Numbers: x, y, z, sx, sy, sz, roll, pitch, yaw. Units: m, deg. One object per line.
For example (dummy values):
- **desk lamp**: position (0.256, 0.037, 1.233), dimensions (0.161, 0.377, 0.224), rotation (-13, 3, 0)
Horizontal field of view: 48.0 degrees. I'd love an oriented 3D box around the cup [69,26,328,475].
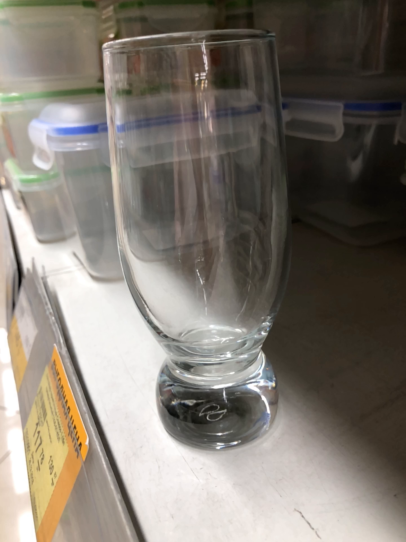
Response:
- **cup**: position (-0.001, -0.008, 0.176), dimensions (0.069, 0.146, 0.057), rotation (-12, 25, -16)
